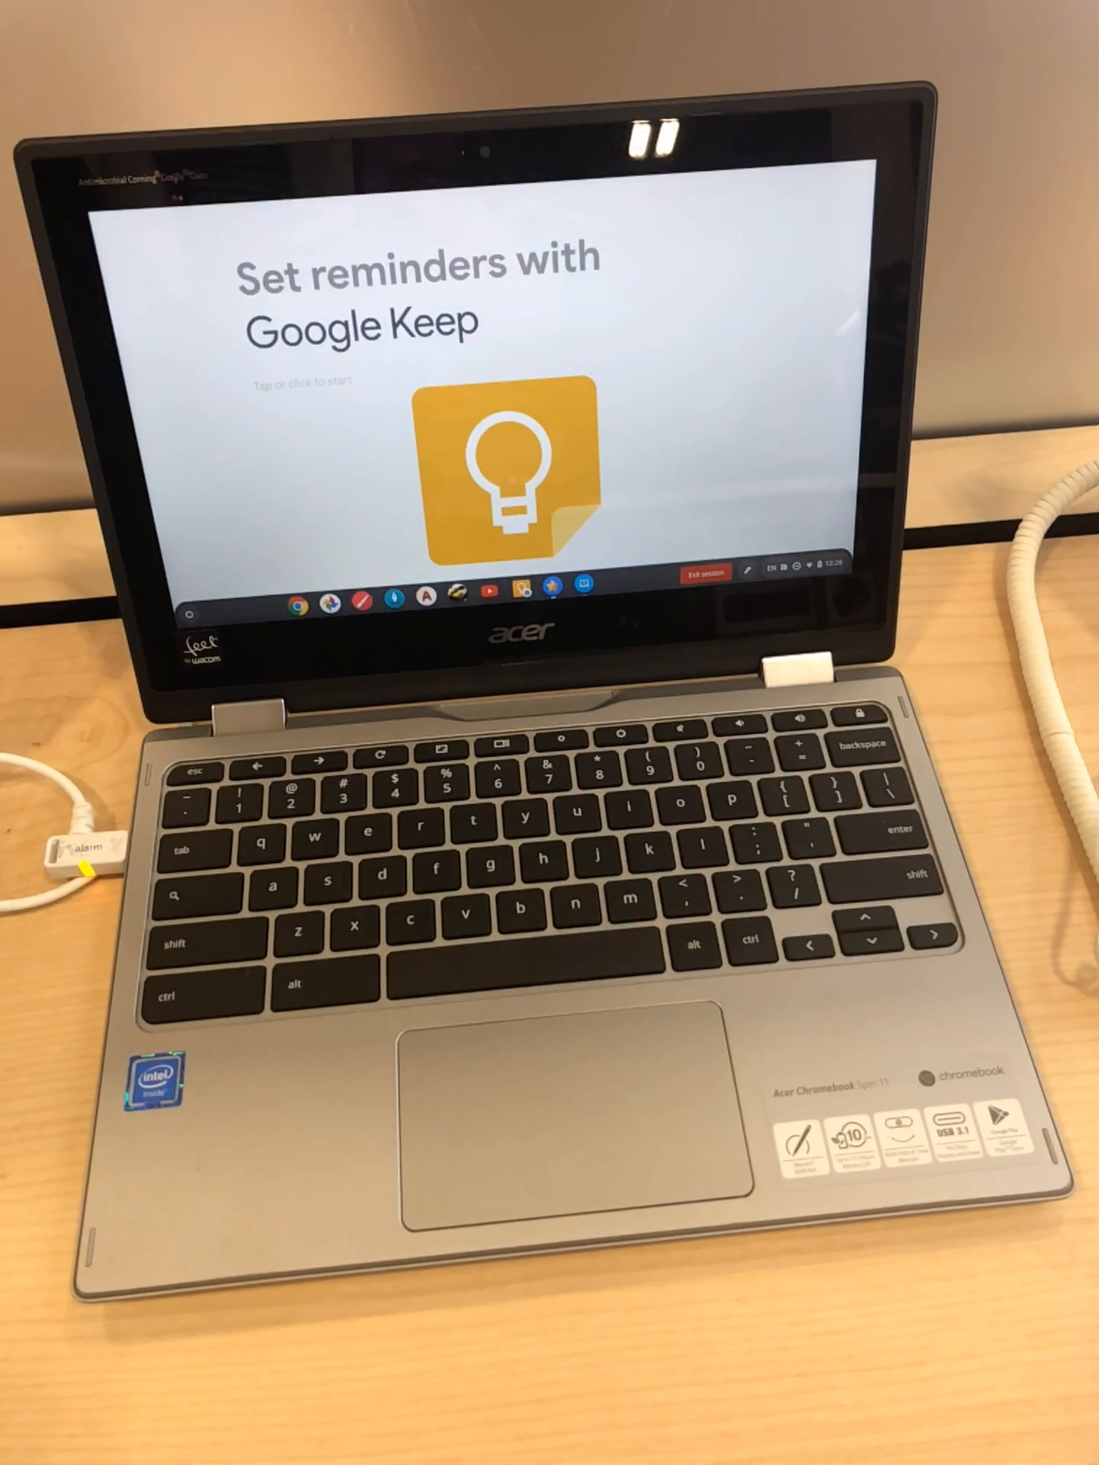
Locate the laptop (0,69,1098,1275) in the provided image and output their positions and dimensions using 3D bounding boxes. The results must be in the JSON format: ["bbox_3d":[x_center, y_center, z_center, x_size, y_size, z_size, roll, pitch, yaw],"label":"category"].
[{"bbox_3d":[-0.004,-0.029,0.369,0.287,0.176,0.296,-5,54,-2],"label":"laptop"}]
